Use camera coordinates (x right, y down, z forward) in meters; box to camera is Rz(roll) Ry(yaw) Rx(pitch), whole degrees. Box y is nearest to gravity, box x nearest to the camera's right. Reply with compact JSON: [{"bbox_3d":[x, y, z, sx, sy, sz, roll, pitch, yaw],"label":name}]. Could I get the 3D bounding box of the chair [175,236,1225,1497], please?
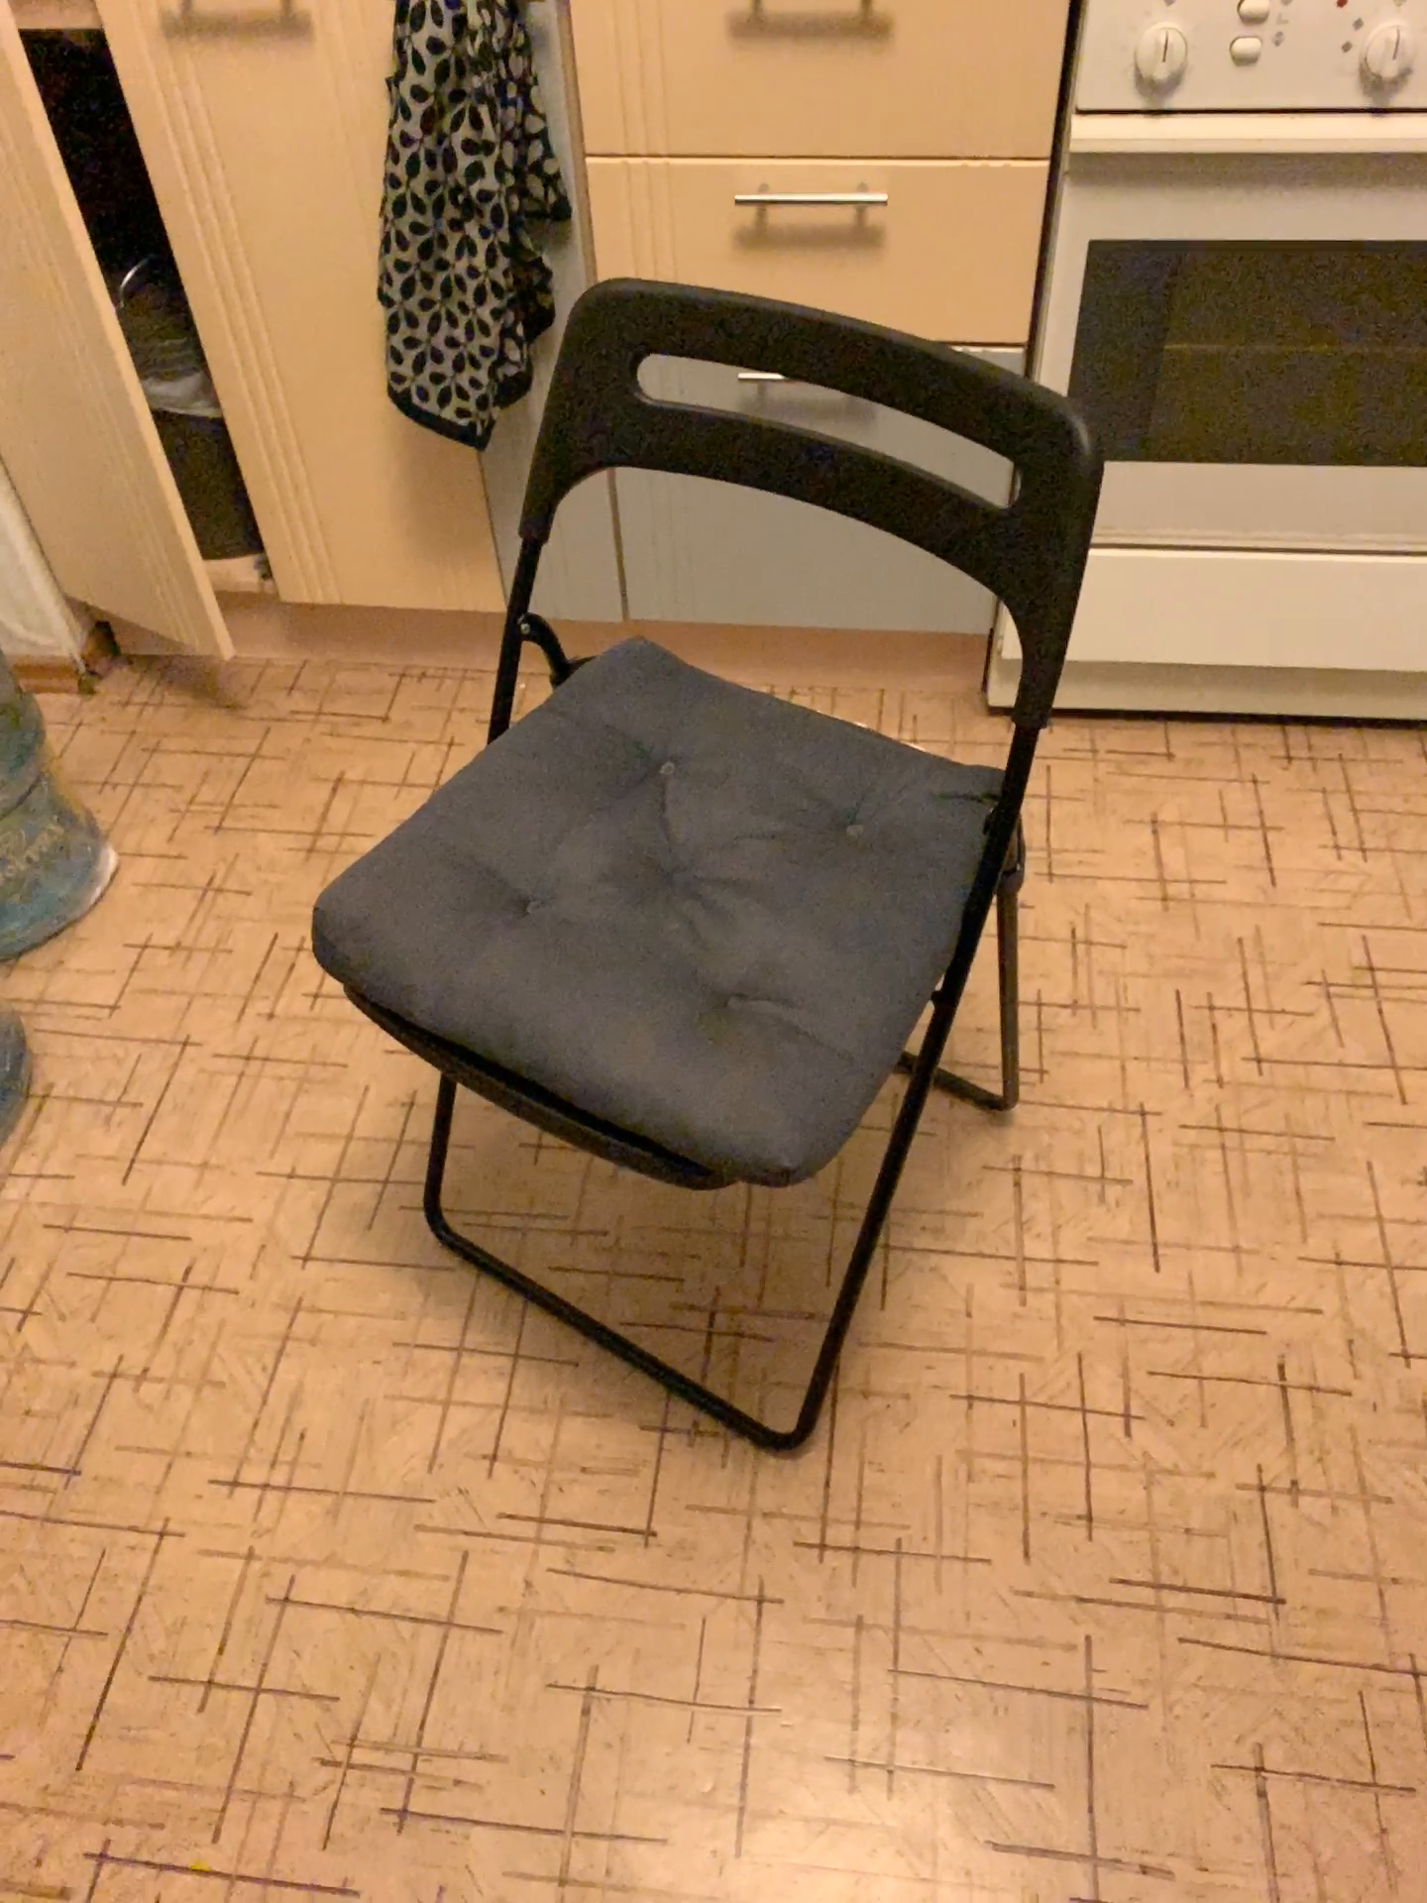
[{"bbox_3d":[0.023,-0.038,1.165,0.441,0.776,0.482,24,53,23],"label":"chair"}]
